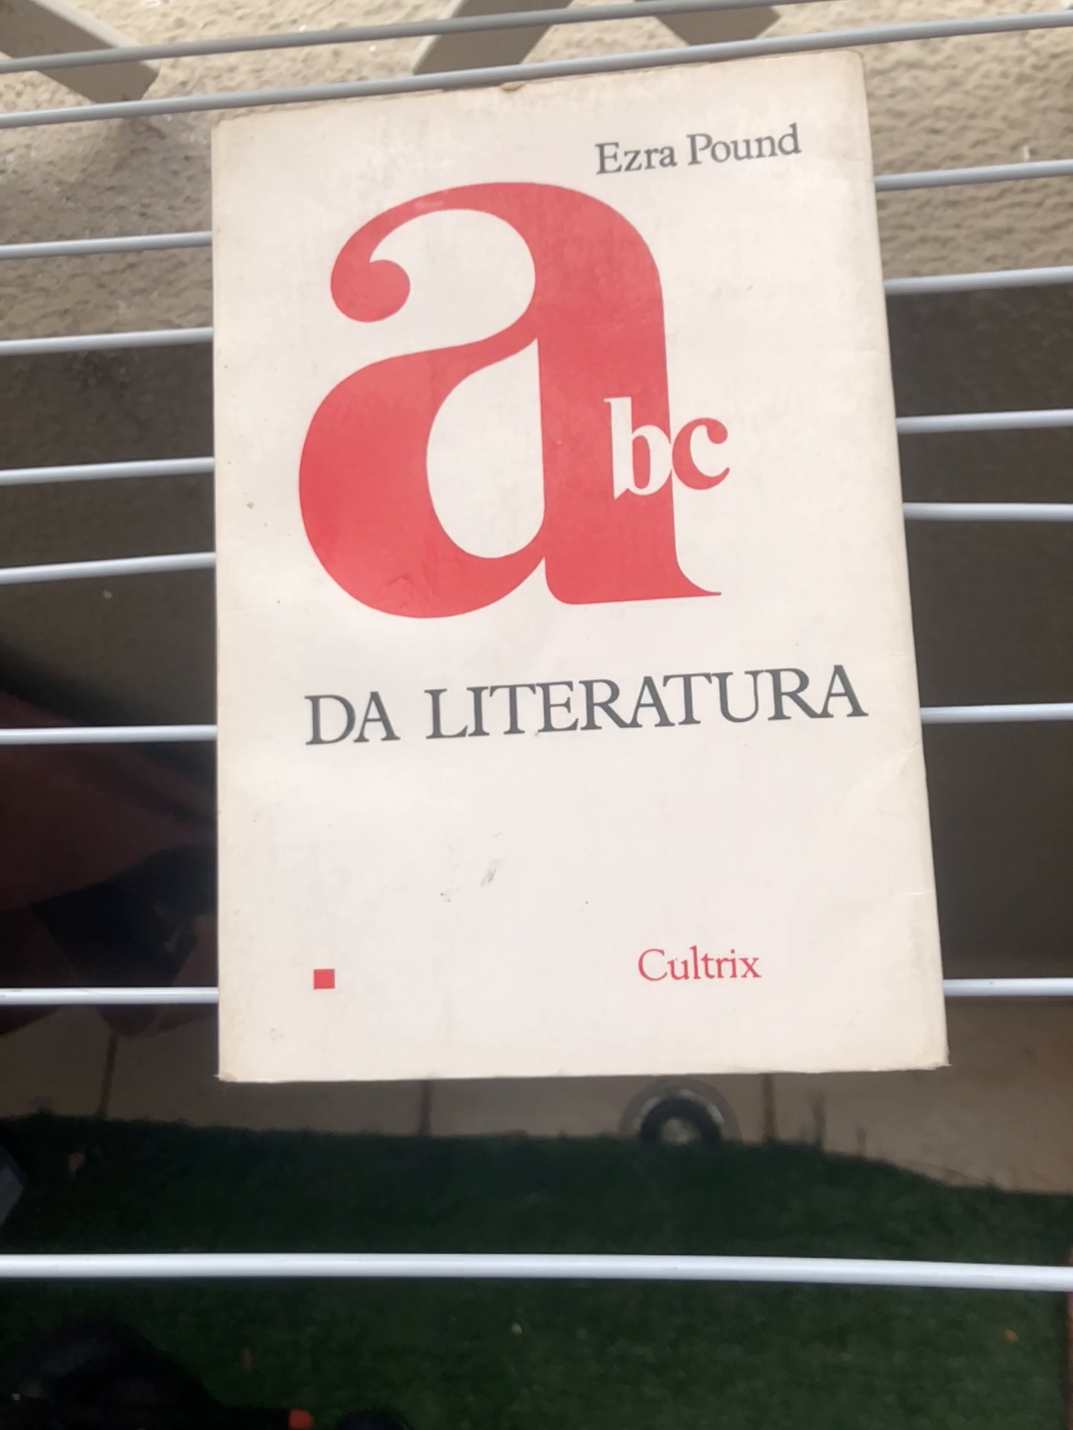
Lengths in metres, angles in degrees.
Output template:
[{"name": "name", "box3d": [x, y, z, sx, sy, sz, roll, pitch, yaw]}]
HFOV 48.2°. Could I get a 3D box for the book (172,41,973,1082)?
[{"name": "book", "box3d": [0.002, -0.029, 0.230, 0.140, 0.017, 0.187, -3, 83, 6]}]
